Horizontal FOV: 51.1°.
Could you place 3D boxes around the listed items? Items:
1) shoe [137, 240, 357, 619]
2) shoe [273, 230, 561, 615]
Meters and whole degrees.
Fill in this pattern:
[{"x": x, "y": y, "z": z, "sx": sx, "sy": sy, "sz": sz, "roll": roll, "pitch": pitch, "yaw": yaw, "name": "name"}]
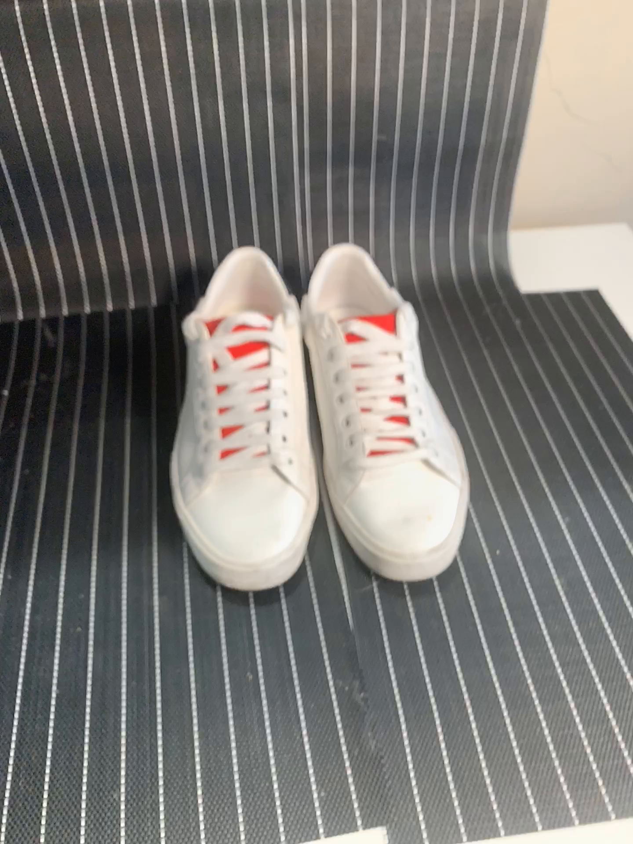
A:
[{"x": -0.049, "y": -0.014, "z": 0.493, "sx": 0.120, "sy": 0.090, "sz": 0.291, "roll": -3, "pitch": 48, "yaw": -4, "name": "shoe"}, {"x": 0.050, "y": -0.020, "z": 0.496, "sx": 0.120, "sy": 0.090, "sz": 0.291, "roll": -8, "pitch": 48, "yaw": -8, "name": "shoe"}]
